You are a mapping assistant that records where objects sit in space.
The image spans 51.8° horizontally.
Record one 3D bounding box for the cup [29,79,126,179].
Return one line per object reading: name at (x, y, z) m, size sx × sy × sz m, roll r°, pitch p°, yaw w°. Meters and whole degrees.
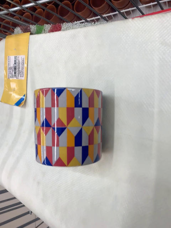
cup at (-0.018, 0.010, 0.202) m, size 0.100 × 0.080 × 0.080 m, roll -174°, pitch 83°, yaw -67°
